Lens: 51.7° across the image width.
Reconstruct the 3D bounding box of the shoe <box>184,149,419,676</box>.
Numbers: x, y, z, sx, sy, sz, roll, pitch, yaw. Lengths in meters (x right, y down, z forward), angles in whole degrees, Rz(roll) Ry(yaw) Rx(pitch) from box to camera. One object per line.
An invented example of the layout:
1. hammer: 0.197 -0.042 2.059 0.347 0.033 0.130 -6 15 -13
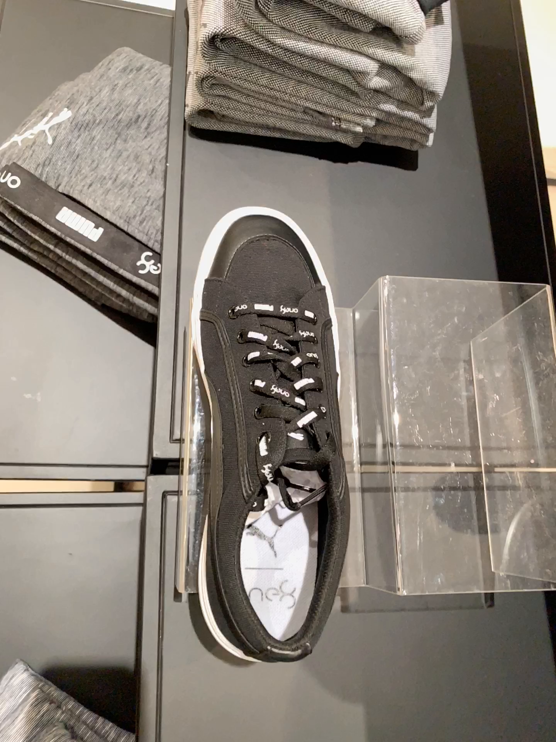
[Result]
1. shoe: 0.005 0.020 0.359 0.110 0.100 0.281 3 74 -12
